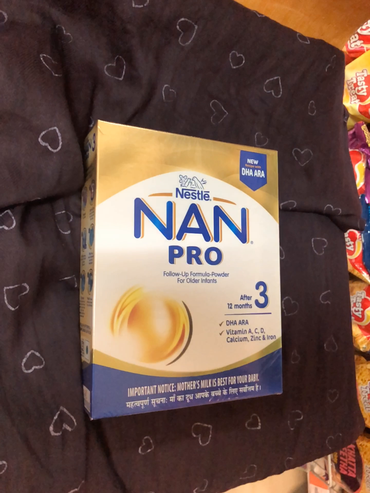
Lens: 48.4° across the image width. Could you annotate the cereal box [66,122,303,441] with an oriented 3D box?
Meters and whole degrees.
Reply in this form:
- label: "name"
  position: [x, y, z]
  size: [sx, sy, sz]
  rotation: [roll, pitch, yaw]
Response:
- label: "cereal box"
  position: [0.001, 0.023, 0.311]
  size: [0.160, 0.070, 0.190]
  rotation: [3, 84, -26]
